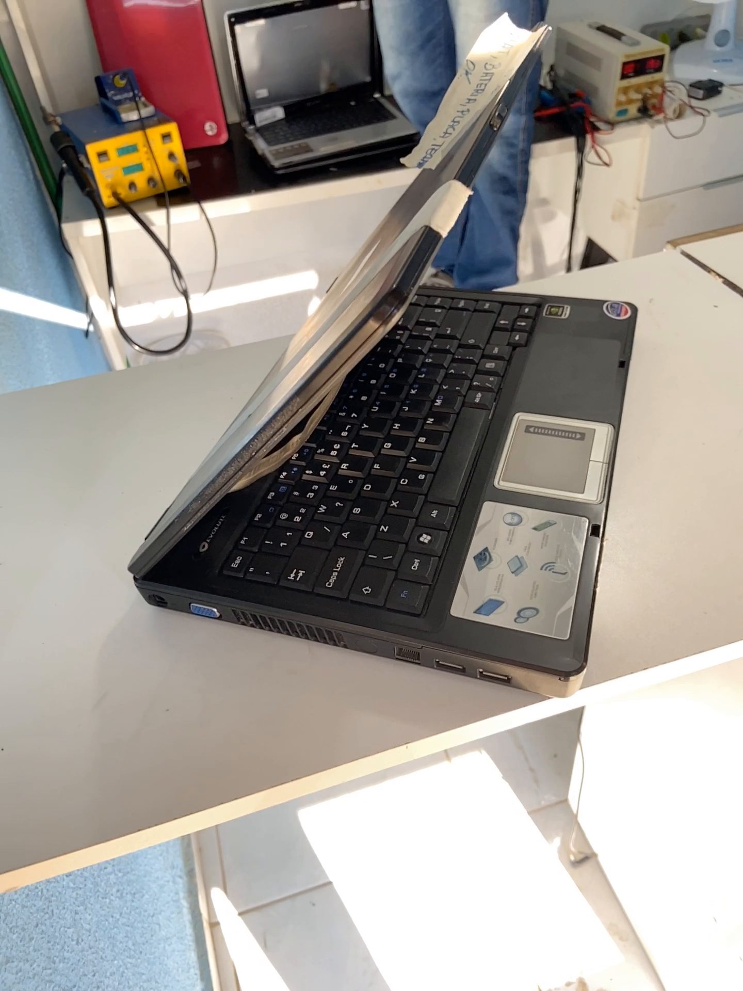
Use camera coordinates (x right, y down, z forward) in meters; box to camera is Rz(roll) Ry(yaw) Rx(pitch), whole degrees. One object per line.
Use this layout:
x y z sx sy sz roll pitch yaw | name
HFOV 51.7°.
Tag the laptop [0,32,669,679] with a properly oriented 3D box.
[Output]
0.024 -0.110 0.421 0.224 0.175 0.330 9 45 17 | laptop
